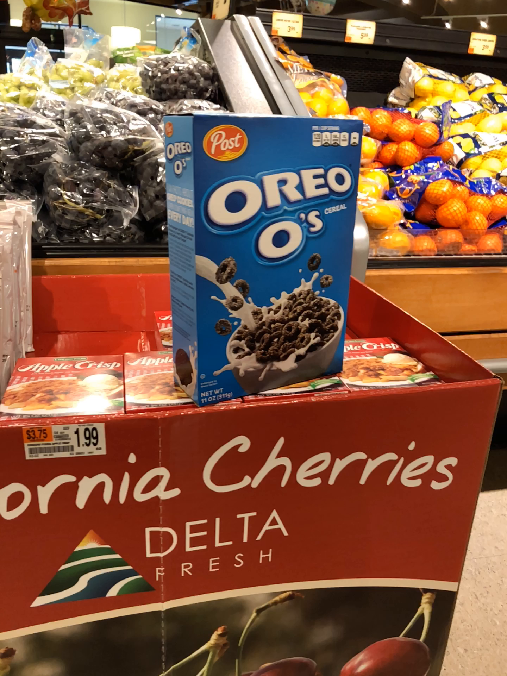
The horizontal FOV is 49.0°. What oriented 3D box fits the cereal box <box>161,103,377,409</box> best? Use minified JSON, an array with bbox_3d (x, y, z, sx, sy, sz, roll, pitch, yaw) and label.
[{"bbox_3d":[0.017,-0.090,0.579,0.201,0.278,0.070,-12,24,-30],"label":"cereal box"}]
